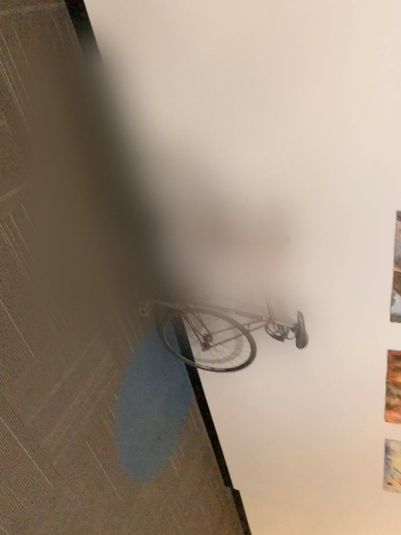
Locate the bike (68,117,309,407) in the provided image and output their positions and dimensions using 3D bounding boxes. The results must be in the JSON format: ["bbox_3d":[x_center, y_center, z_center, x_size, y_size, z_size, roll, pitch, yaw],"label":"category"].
[{"bbox_3d":[0.069,0.079,2.353,0.449,0.909,1.632,-64,147,-42],"label":"bike"}]
